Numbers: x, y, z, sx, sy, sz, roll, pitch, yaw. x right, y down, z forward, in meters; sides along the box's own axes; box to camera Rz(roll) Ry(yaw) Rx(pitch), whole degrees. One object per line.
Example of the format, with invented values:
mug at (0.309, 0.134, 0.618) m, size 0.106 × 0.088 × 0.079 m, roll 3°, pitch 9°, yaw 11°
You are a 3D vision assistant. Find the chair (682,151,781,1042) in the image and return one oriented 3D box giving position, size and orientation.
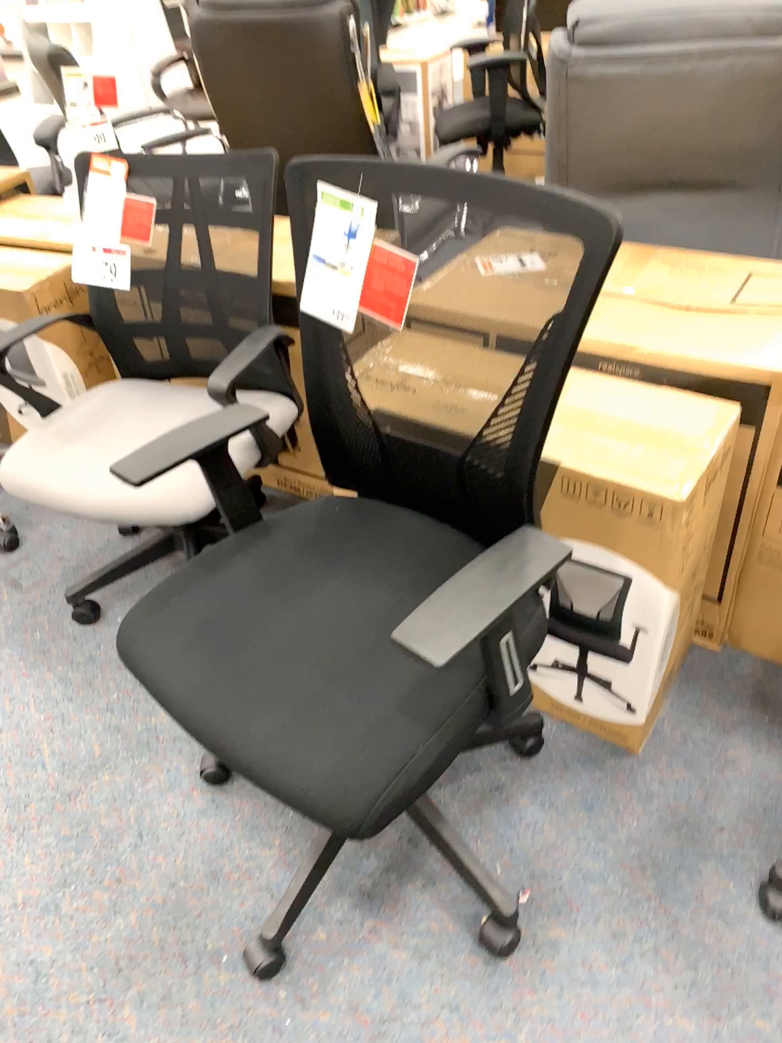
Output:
chair at (0.881, 0.197, 0.913) m, size 0.673 × 0.934 × 0.710 m, roll 26°, pitch 47°, yaw 34°

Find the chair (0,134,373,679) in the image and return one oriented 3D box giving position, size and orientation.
chair at (-0.503, -0.281, 1.744) m, size 0.622 × 0.874 × 0.681 m, roll 13°, pitch 41°, yaw 22°

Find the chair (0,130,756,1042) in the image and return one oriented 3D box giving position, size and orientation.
chair at (-0.079, 0.101, 1.091) m, size 0.683 × 0.974 × 0.680 m, roll 26°, pitch 47°, yaw 34°

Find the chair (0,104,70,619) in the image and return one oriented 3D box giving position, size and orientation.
chair at (-1.358, -0.389, 1.935) m, size 0.698 × 0.934 × 0.715 m, roll -6°, pitch 37°, yaw -1°
